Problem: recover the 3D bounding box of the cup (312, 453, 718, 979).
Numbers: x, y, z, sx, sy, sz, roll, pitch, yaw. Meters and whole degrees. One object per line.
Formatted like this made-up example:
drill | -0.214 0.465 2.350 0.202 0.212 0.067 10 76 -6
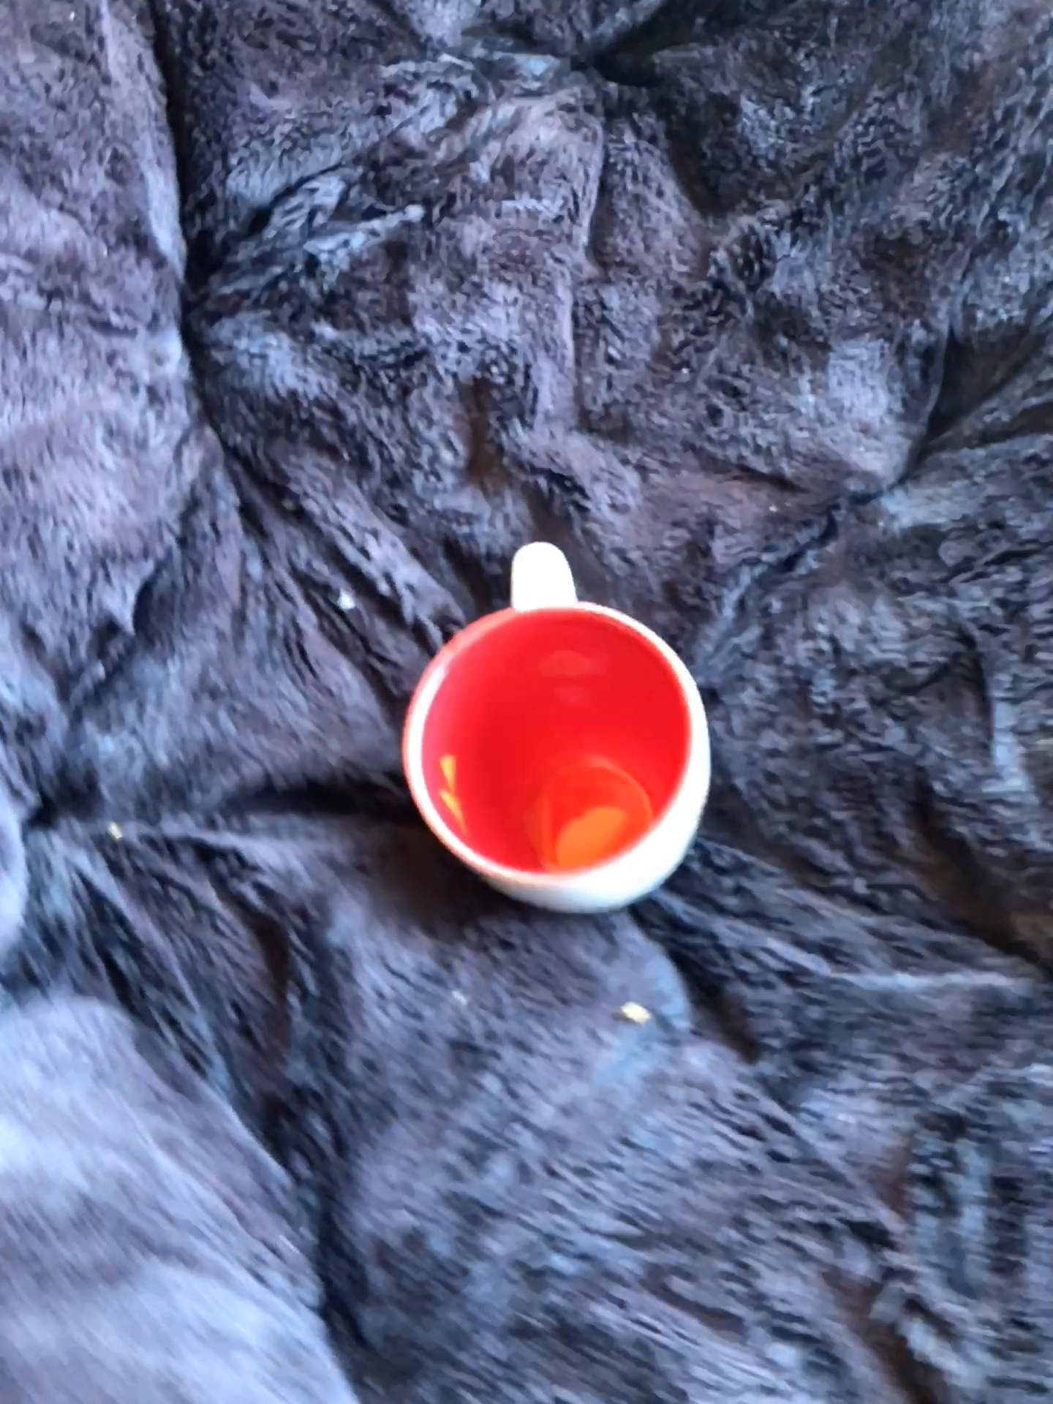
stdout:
cup | -0.002 0.010 0.431 0.100 0.110 0.140 -16 67 0
